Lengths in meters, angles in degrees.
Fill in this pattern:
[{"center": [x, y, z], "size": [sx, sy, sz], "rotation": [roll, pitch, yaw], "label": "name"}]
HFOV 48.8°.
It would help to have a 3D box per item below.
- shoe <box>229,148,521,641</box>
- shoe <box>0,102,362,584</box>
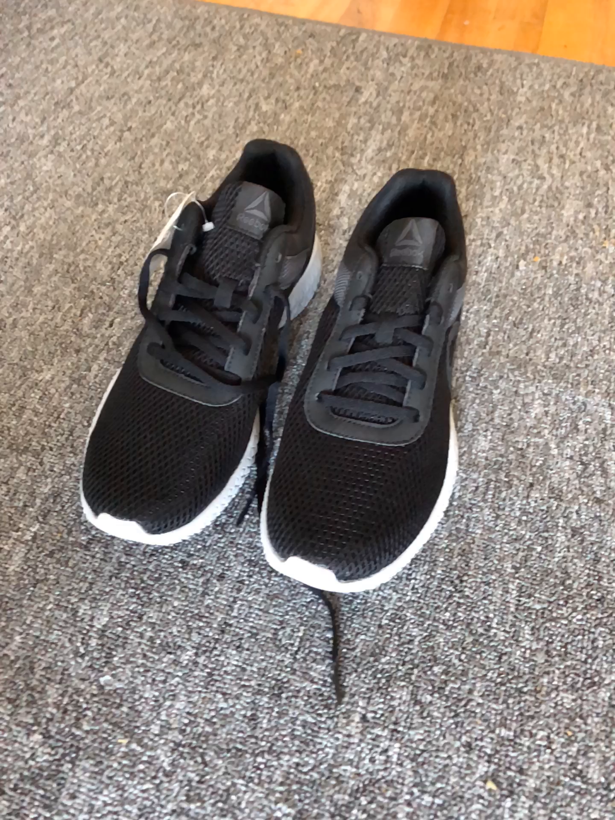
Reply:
[{"center": [0.056, -0.030, 0.433], "size": [0.110, 0.099, 0.302], "rotation": [12, 55, 9], "label": "shoe"}, {"center": [-0.061, -0.062, 0.434], "size": [0.116, 0.099, 0.302], "rotation": [14, 55, 10], "label": "shoe"}]
